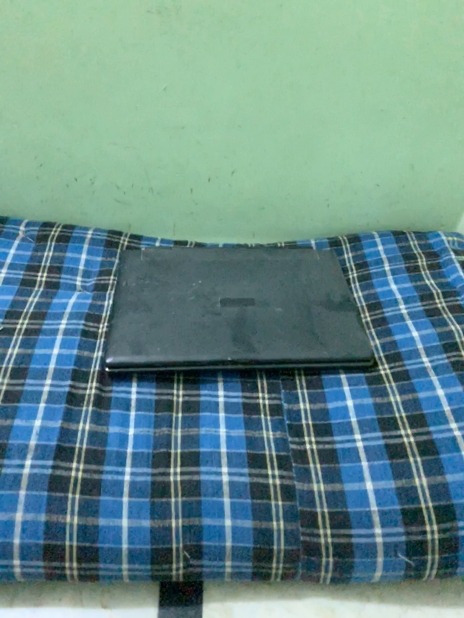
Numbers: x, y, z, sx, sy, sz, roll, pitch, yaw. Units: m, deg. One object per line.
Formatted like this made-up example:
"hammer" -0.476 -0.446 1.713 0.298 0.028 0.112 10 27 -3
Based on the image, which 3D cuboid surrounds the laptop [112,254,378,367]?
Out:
"laptop" 0.012 -0.008 0.649 0.323 0.005 0.217 -1 43 -5
